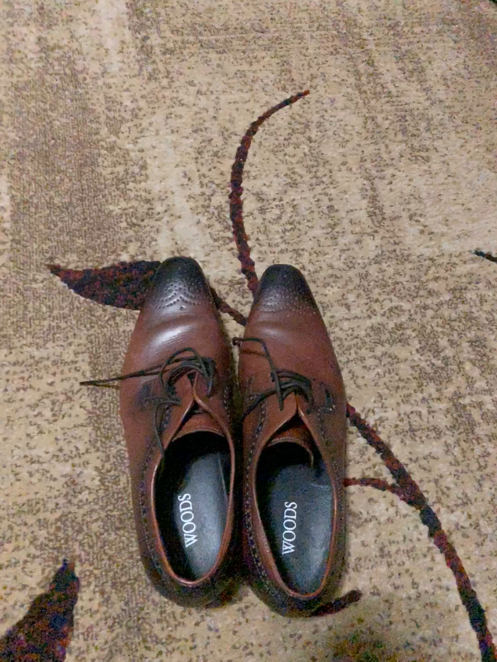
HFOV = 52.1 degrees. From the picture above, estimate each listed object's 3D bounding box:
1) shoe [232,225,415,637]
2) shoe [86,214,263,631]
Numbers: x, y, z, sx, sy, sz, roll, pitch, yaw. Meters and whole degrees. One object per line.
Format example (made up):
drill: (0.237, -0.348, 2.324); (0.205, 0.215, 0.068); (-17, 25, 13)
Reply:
shoe: (0.042, 0.070, 0.406); (0.100, 0.115, 0.287); (2, 65, -5)
shoe: (-0.058, 0.060, 0.402); (0.100, 0.115, 0.287); (-2, 65, -6)
